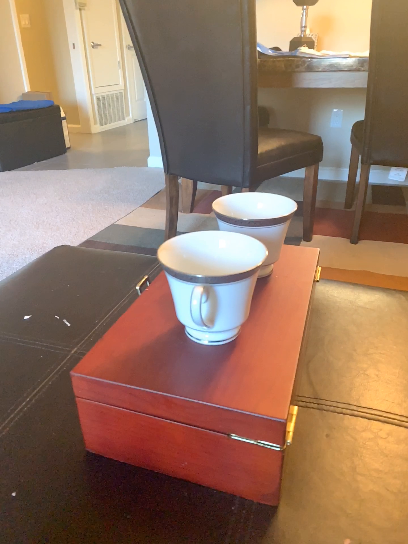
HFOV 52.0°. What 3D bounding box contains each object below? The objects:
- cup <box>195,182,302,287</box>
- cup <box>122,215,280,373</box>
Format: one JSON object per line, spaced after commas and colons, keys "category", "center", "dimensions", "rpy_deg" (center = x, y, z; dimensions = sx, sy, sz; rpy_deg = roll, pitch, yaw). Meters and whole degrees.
{"category": "cup", "center": [0.052, -0.046, 0.456], "dimensions": [0.090, 0.070, 0.111], "rpy_deg": [8, 29, 17]}
{"category": "cup", "center": [0.004, 0.010, 0.338], "dimensions": [0.090, 0.070, 0.110], "rpy_deg": [8, 29, 18]}
